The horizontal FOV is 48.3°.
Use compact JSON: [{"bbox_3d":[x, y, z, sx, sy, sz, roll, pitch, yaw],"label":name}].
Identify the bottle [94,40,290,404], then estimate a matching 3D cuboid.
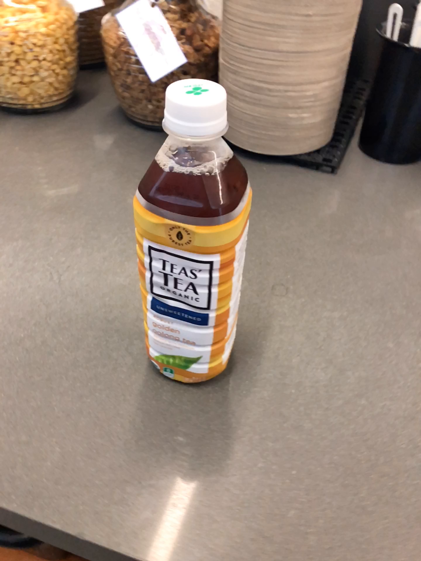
[{"bbox_3d":[-0.008,-0.020,0.276,0.070,0.199,0.070,2,43,-2],"label":"bottle"}]
